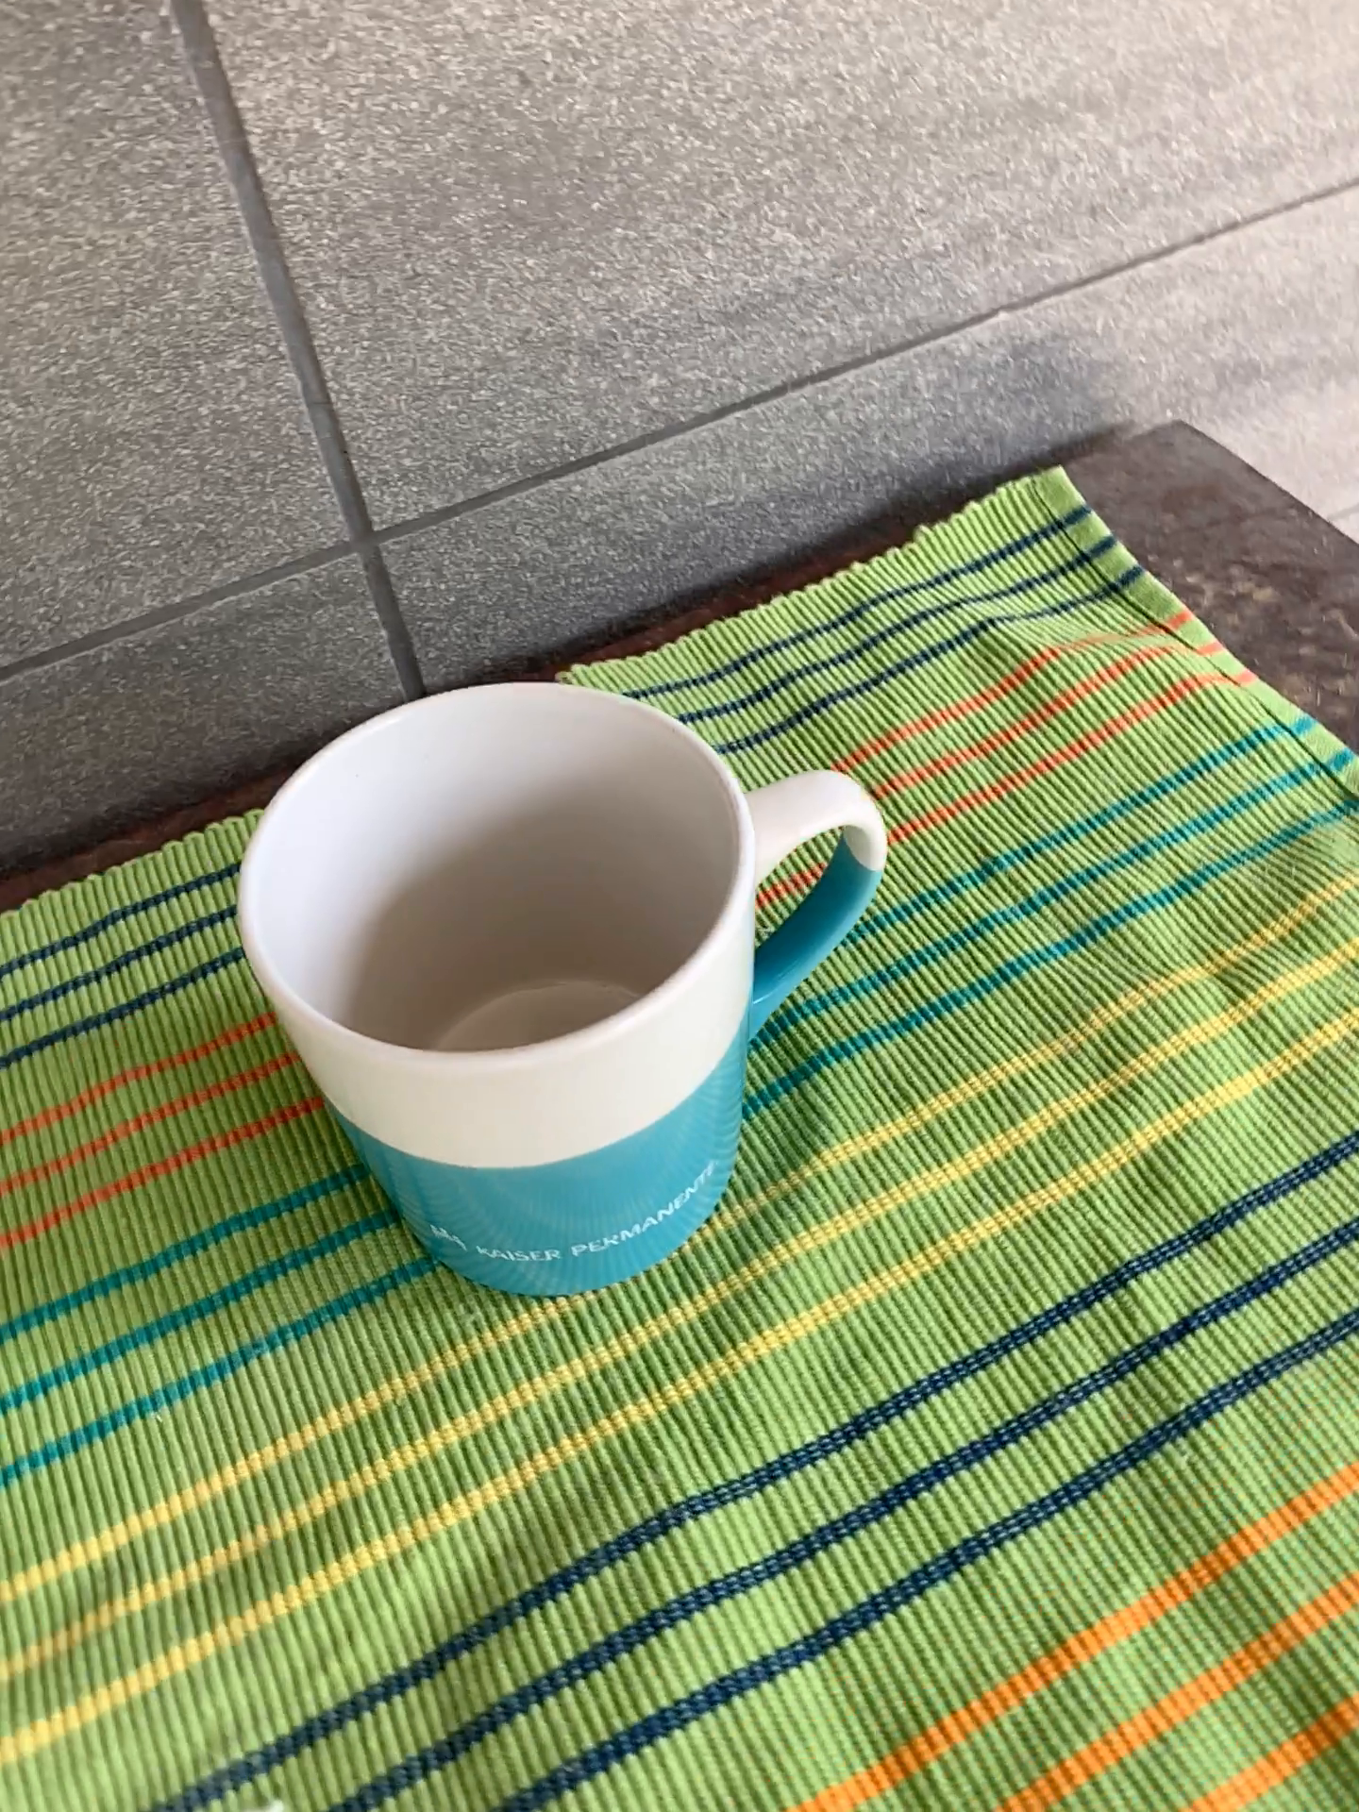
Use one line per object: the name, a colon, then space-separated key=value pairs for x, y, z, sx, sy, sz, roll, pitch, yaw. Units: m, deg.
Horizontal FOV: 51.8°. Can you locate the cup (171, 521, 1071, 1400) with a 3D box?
cup: x=-0.010 y=0.009 z=0.299 sx=0.140 sy=0.100 sz=0.100 roll=-26 pitch=51 yaw=-14
